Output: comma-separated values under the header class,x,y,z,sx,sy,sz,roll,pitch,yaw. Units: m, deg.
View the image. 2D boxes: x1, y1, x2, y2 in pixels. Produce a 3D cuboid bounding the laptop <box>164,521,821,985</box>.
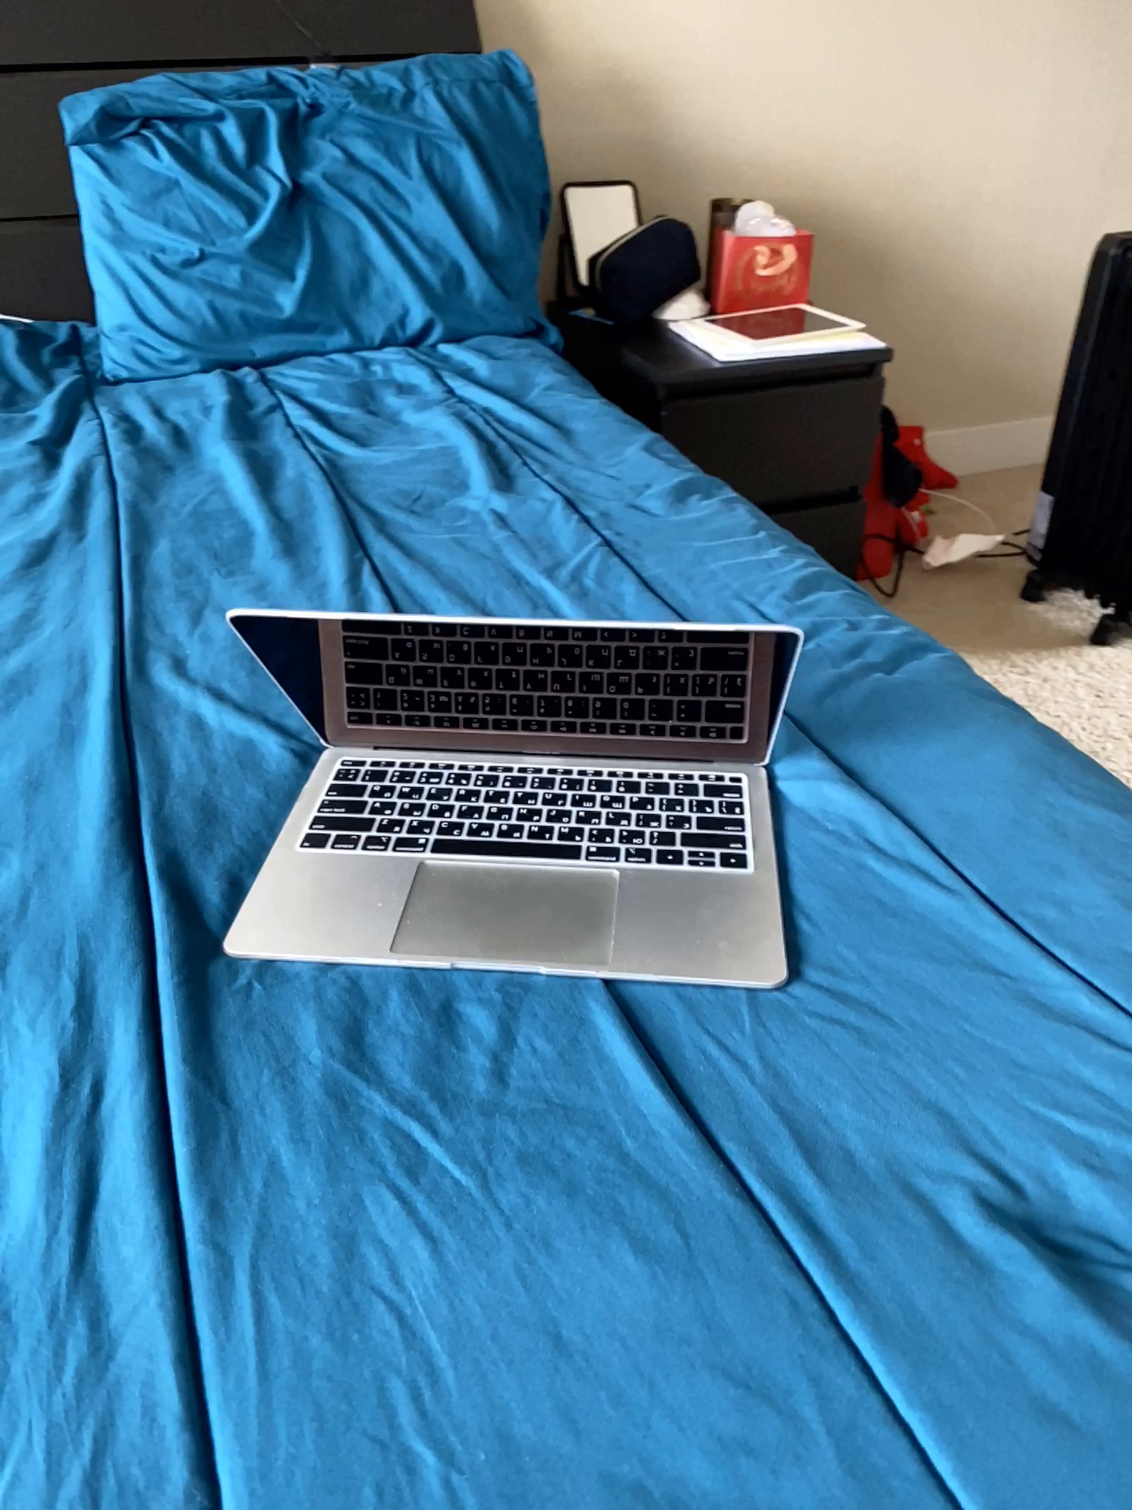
class,x,y,z,sx,sy,sz,roll,pitch,yaw
laptop,-0.025,-0.014,0.646,0.295,0.161,0.216,2,32,5
